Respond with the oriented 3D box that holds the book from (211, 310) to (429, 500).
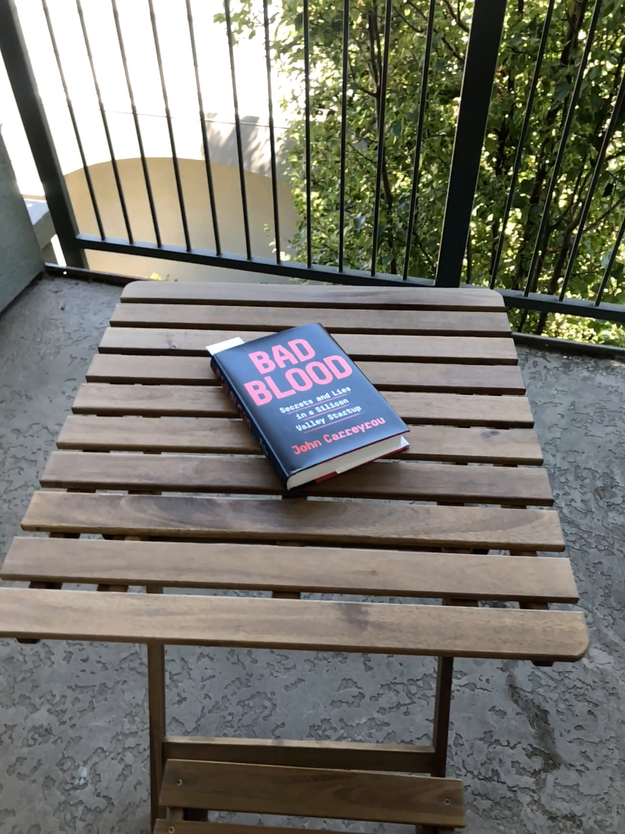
[{"bbox_3d":[0.002,-0.027,0.879,0.180,0.050,0.241,-20,48,-19],"label":"book"}]
